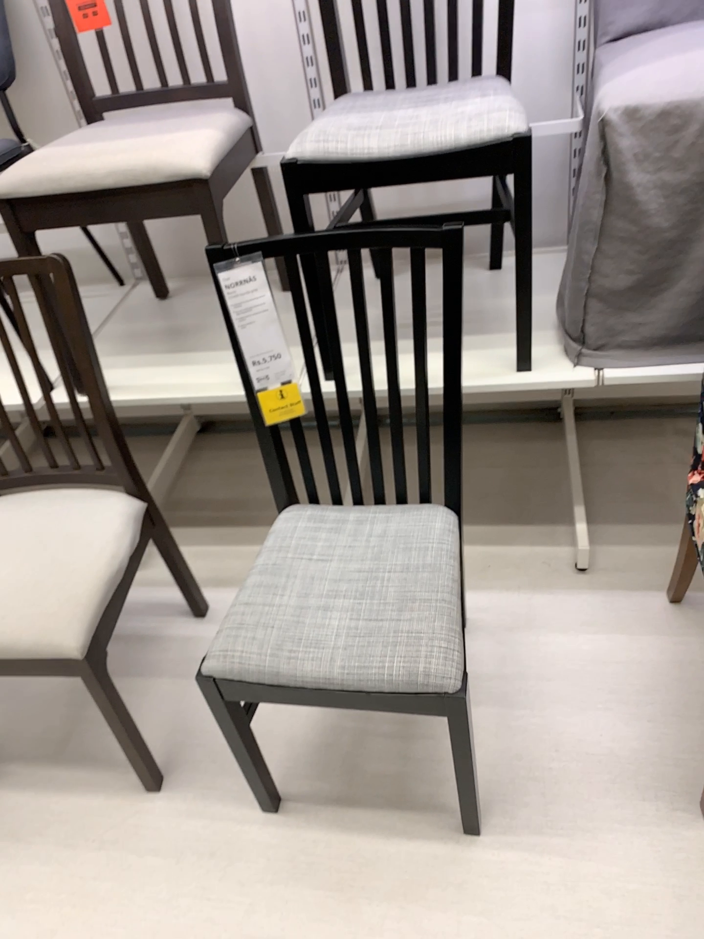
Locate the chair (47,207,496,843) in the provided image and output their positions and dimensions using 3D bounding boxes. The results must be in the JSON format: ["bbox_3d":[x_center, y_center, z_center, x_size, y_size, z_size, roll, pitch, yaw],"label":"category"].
[{"bbox_3d":[-0.002,0.123,1.221,0.440,0.896,0.552,0,40,14],"label":"chair"}]
